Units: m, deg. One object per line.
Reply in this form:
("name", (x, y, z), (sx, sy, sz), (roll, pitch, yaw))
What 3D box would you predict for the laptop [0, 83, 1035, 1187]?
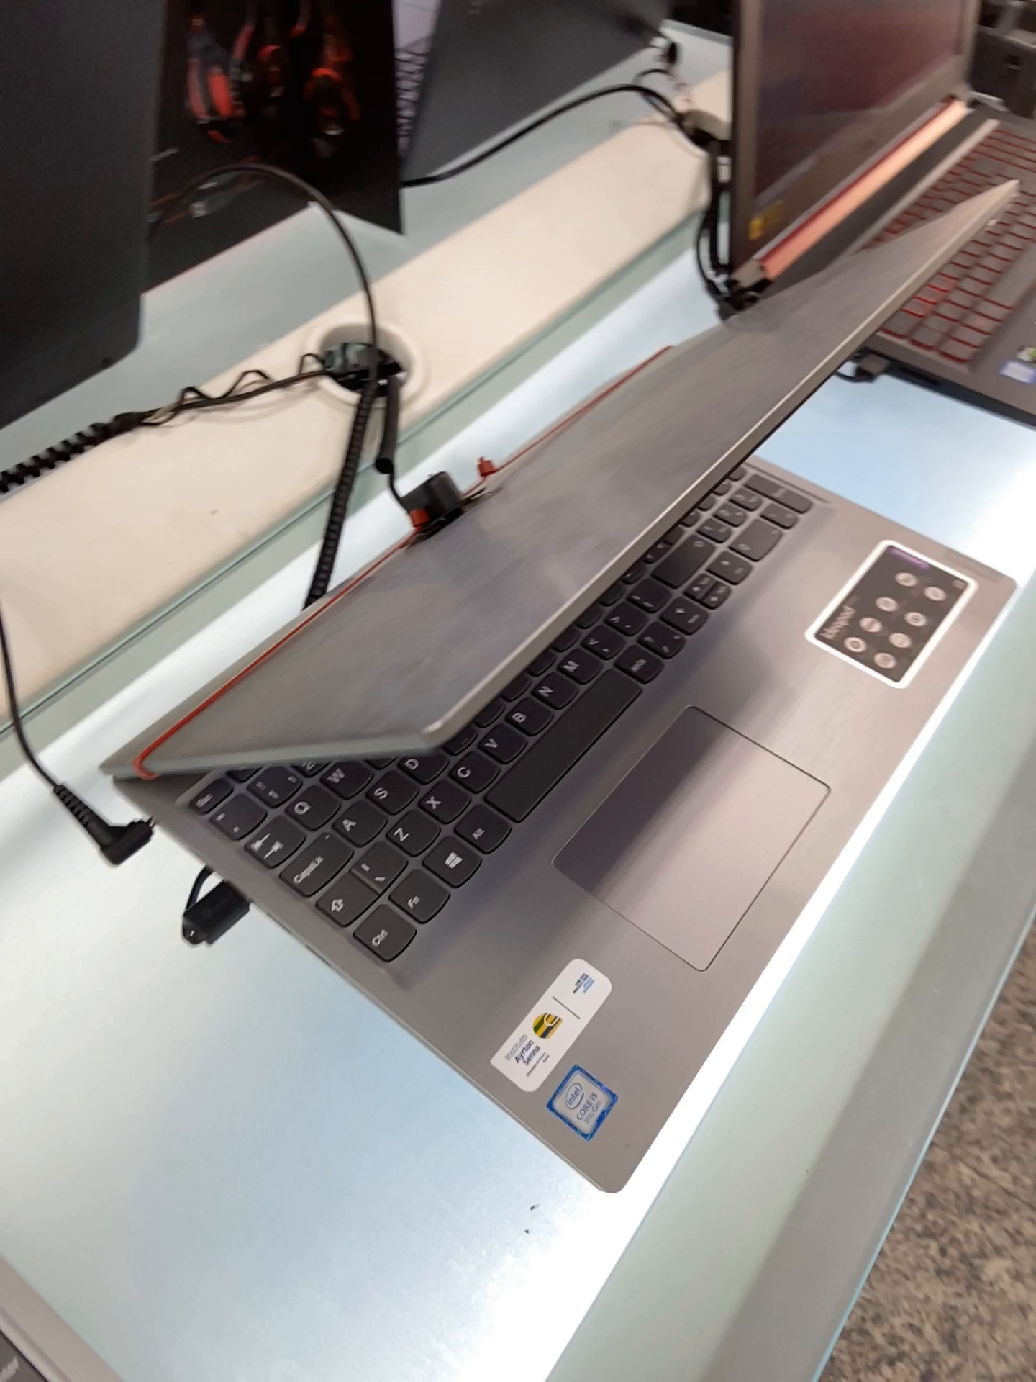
("laptop", (0.044, -0.063, 0.419), (0.246, 0.167, 0.362), (32, 54, 21))
